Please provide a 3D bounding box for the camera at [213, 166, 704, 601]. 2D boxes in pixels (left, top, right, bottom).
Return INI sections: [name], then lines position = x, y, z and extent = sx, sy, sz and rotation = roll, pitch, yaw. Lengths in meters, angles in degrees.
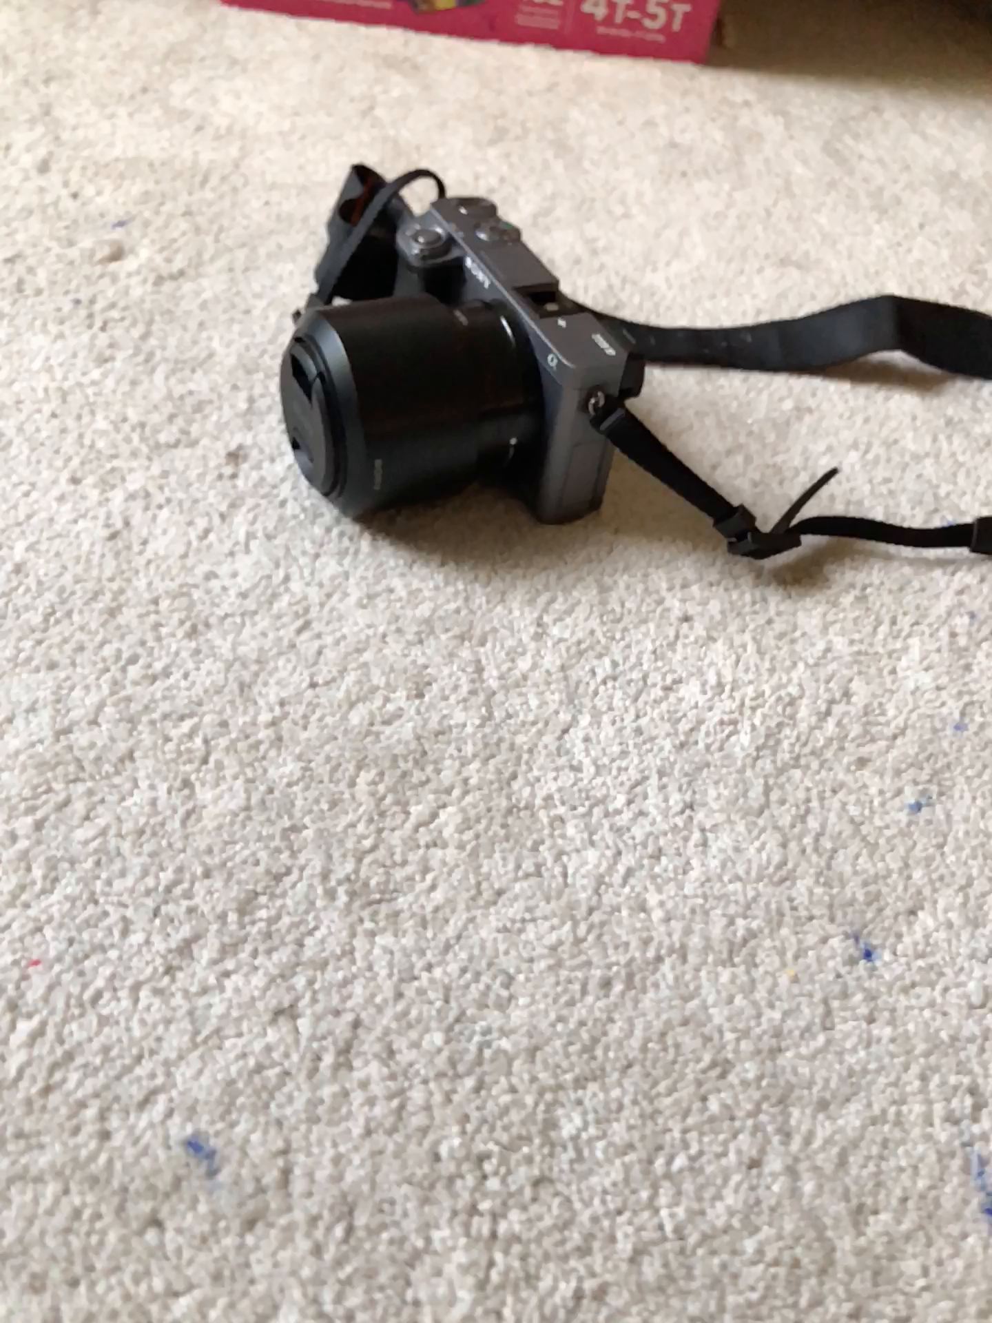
[camera]
position = -0.021, -0.106, 0.395
extent = 0.120, 0.080, 0.130
rotation = -15, 51, -24
